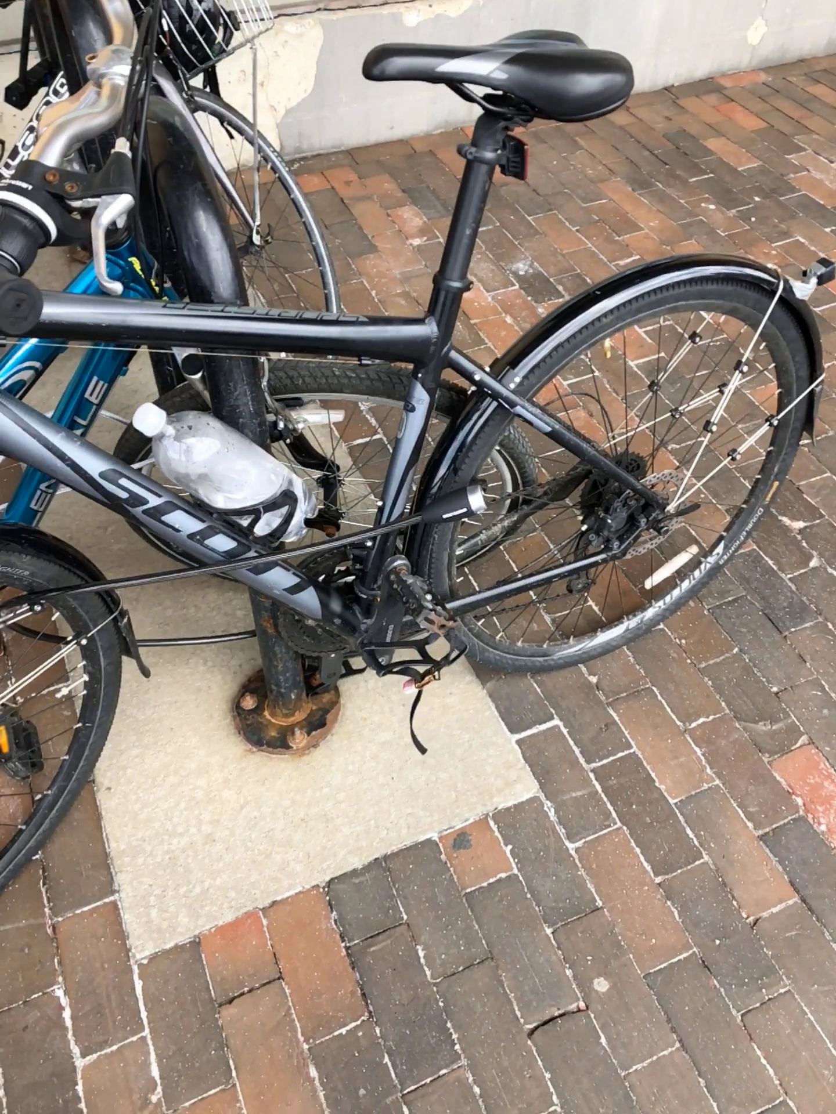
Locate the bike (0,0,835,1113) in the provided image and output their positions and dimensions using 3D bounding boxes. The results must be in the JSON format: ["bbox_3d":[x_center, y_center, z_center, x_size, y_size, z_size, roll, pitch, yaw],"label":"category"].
[{"bbox_3d":[-0.178,-0.025,0.993,1.512,0.940,0.675,-26,55,-19],"label":"bike"}]
